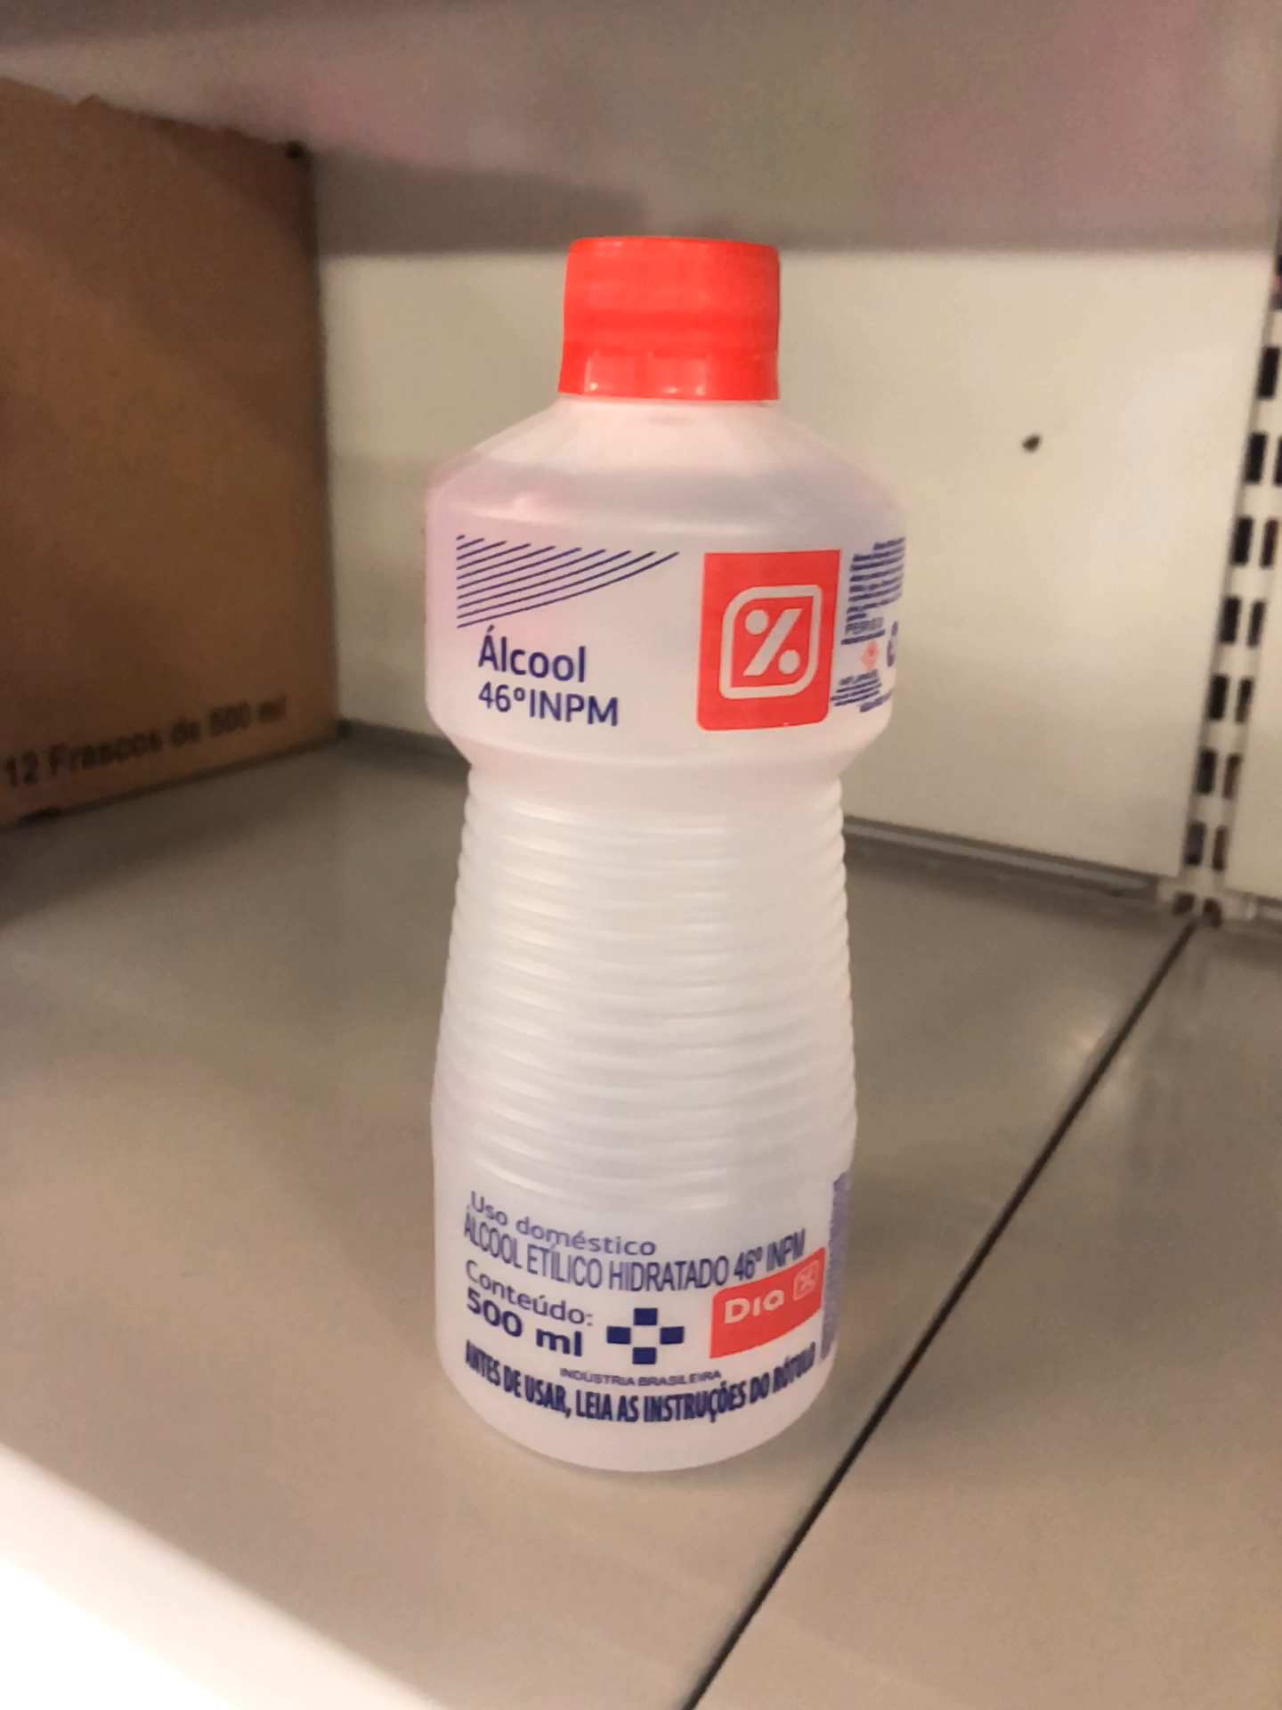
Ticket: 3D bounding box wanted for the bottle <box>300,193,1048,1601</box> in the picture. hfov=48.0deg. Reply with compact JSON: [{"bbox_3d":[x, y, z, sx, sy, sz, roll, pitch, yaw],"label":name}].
[{"bbox_3d":[0.009,0.002,0.221,0.080,0.179,0.080,1,18,0],"label":"bottle"}]
